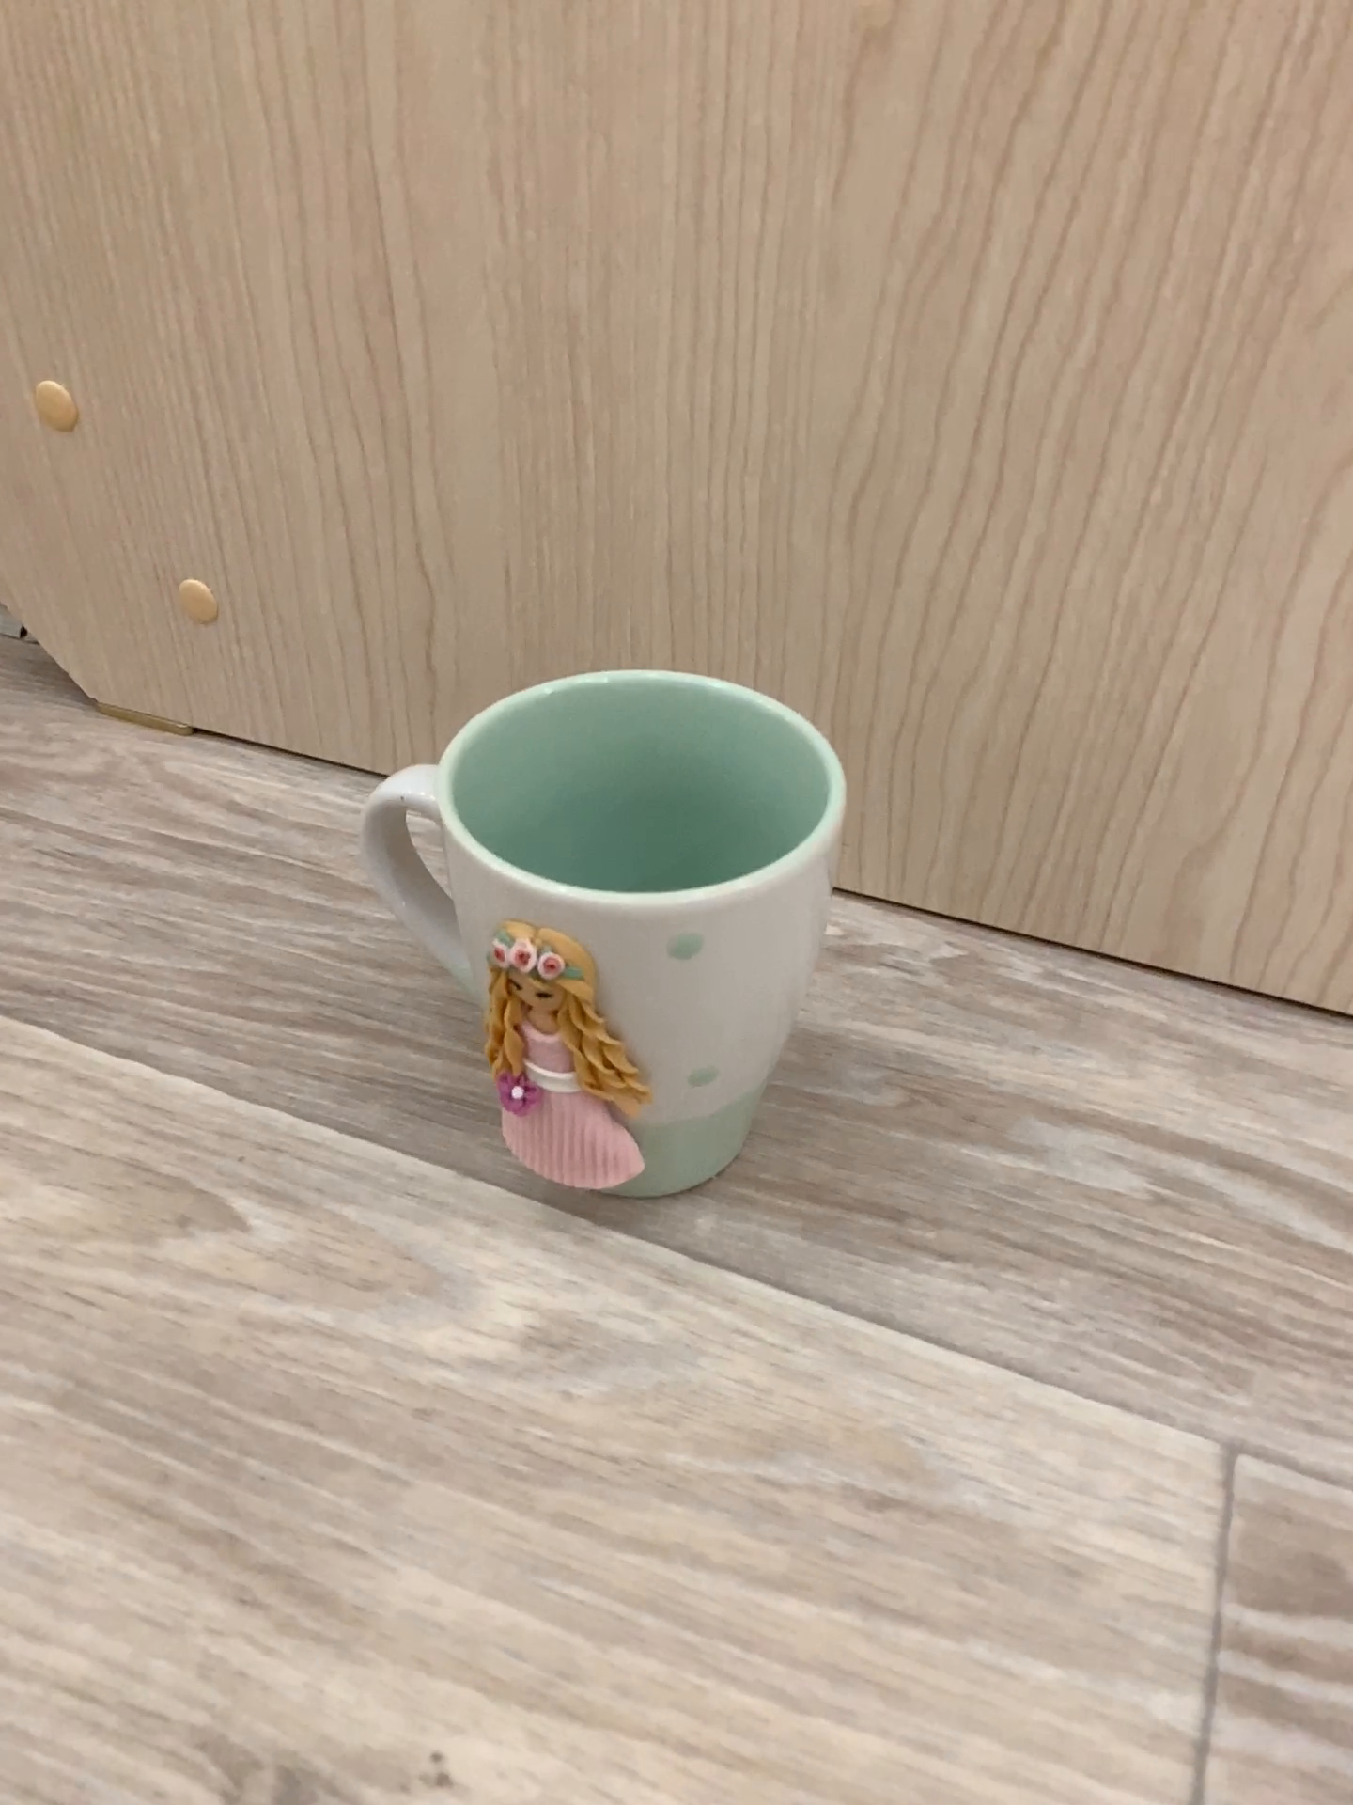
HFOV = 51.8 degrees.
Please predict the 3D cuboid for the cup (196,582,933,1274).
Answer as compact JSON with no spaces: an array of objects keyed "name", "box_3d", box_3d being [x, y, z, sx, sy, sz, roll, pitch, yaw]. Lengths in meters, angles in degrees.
[{"name":"cup","box_3d":[-0.018,-0.001,0.291,0.112,0.080,0.093,16,40,17]}]
